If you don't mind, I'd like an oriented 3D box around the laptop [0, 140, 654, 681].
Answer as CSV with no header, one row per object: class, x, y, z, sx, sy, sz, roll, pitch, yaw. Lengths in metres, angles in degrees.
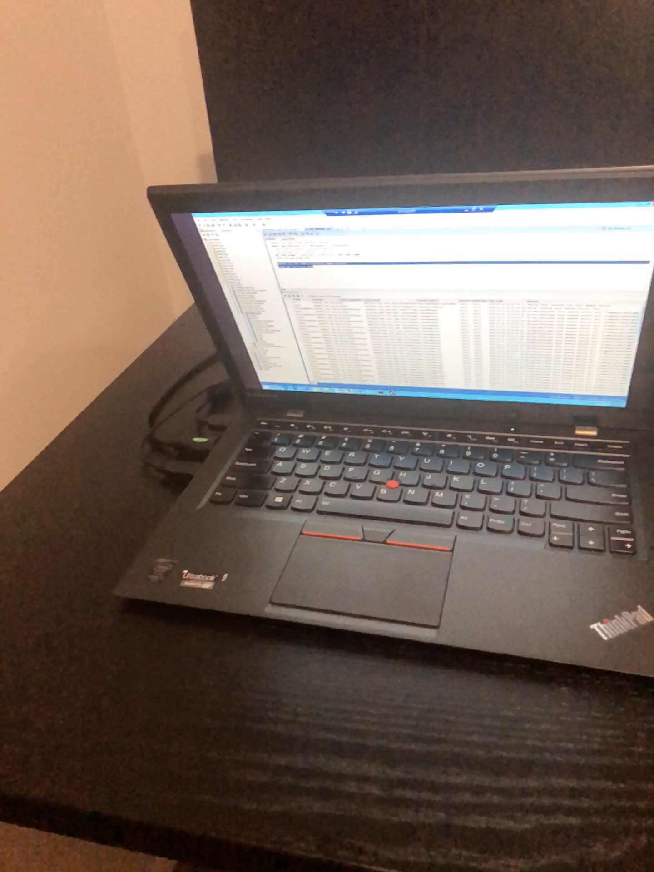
laptop,0.043,-0.043,0.453,0.340,0.214,0.245,3,31,17
